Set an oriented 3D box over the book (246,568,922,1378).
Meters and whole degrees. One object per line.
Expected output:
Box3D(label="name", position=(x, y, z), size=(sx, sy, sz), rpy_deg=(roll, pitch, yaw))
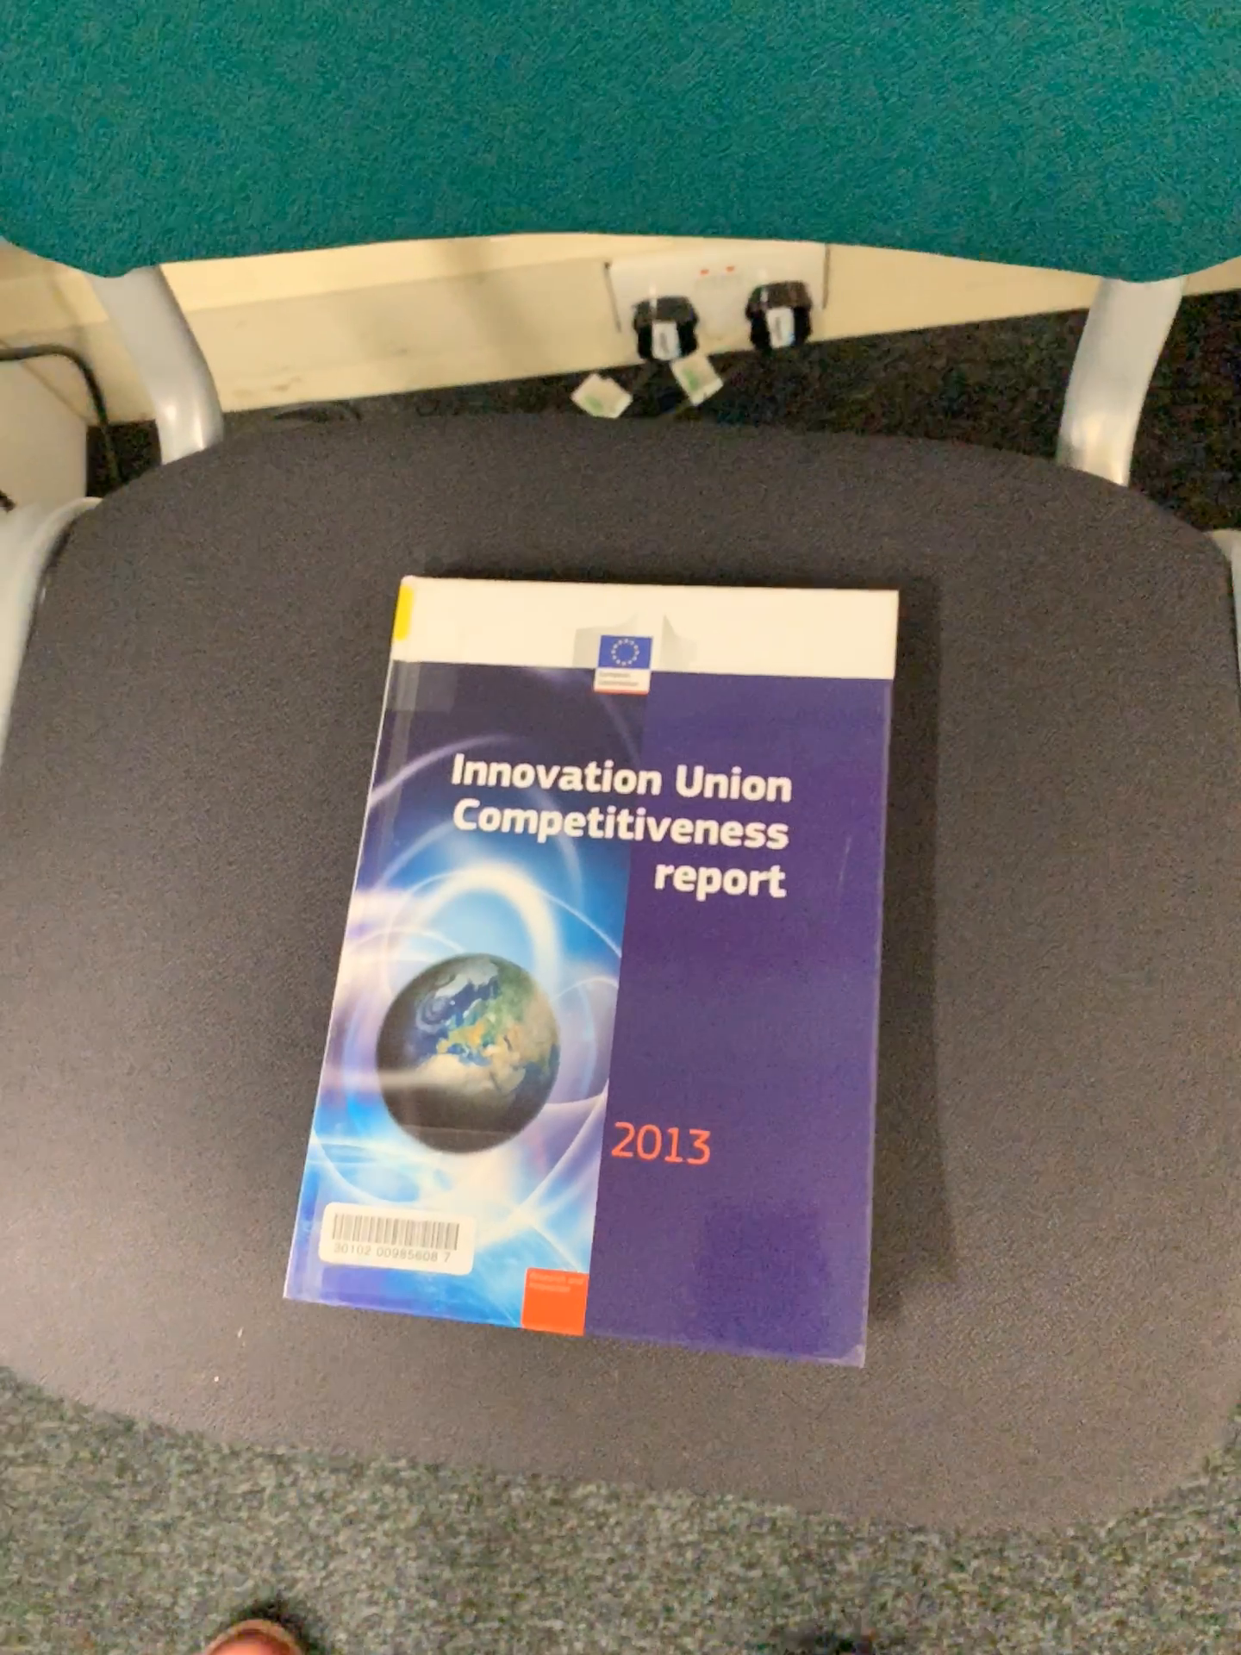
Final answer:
Box3D(label="book", position=(-0.005, 0.034, 0.426), size=(0.194, 0.026, 0.251), rpy_deg=(3, 73, 11))
